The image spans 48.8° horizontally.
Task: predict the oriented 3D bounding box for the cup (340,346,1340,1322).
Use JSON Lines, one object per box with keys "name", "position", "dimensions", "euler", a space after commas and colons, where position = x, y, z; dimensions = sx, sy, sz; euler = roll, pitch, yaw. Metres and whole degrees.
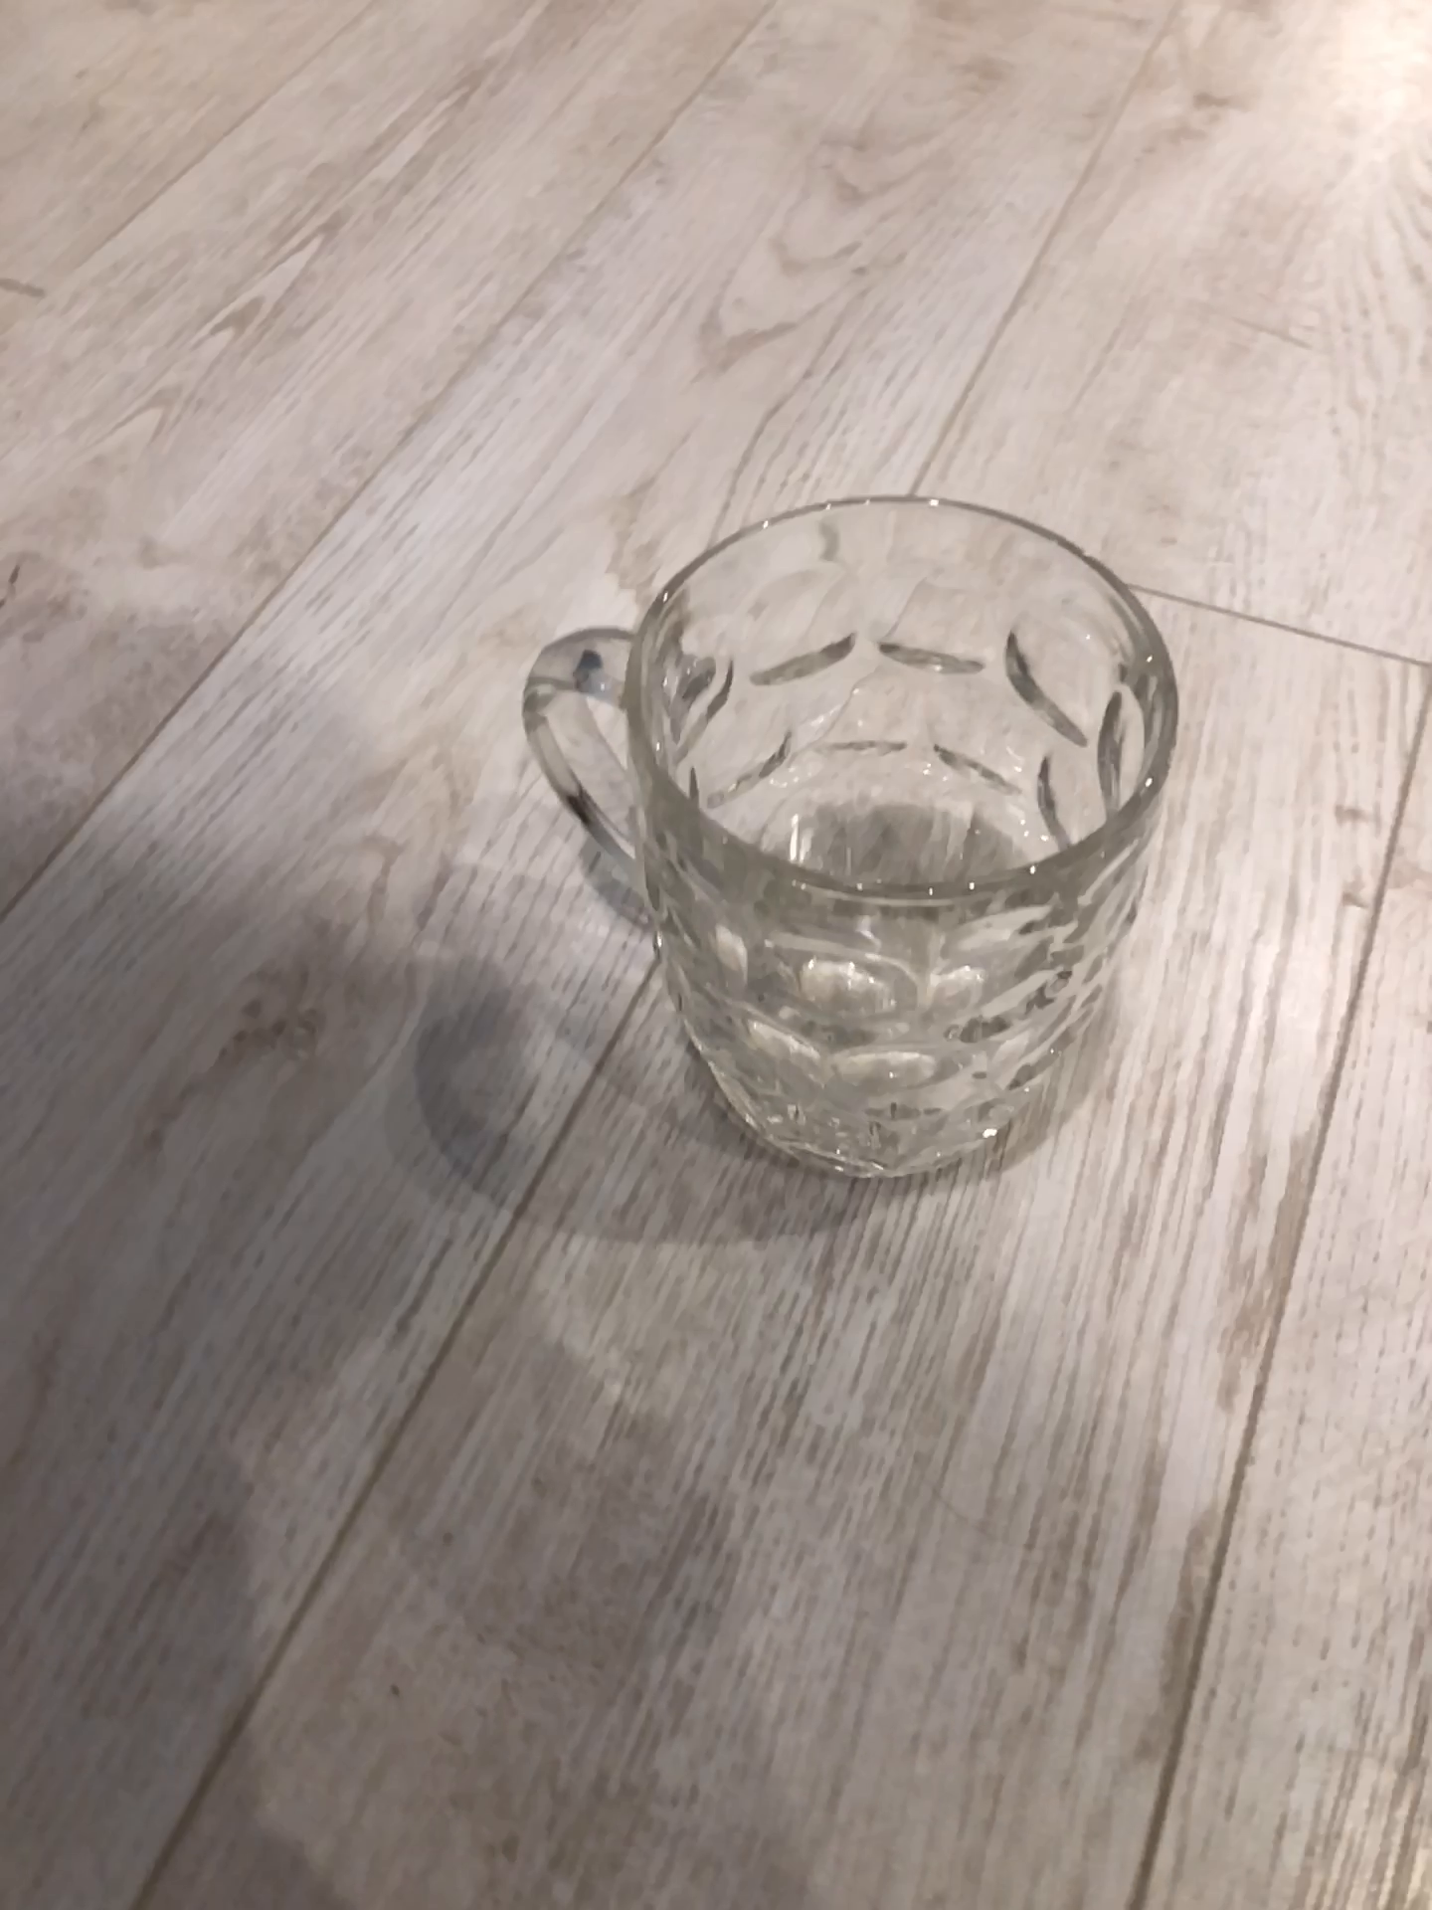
{"name": "cup", "position": [0.022, -0.025, 0.316], "dimensions": [0.140, 0.109, 0.100], "euler": [30, 60, 20]}
